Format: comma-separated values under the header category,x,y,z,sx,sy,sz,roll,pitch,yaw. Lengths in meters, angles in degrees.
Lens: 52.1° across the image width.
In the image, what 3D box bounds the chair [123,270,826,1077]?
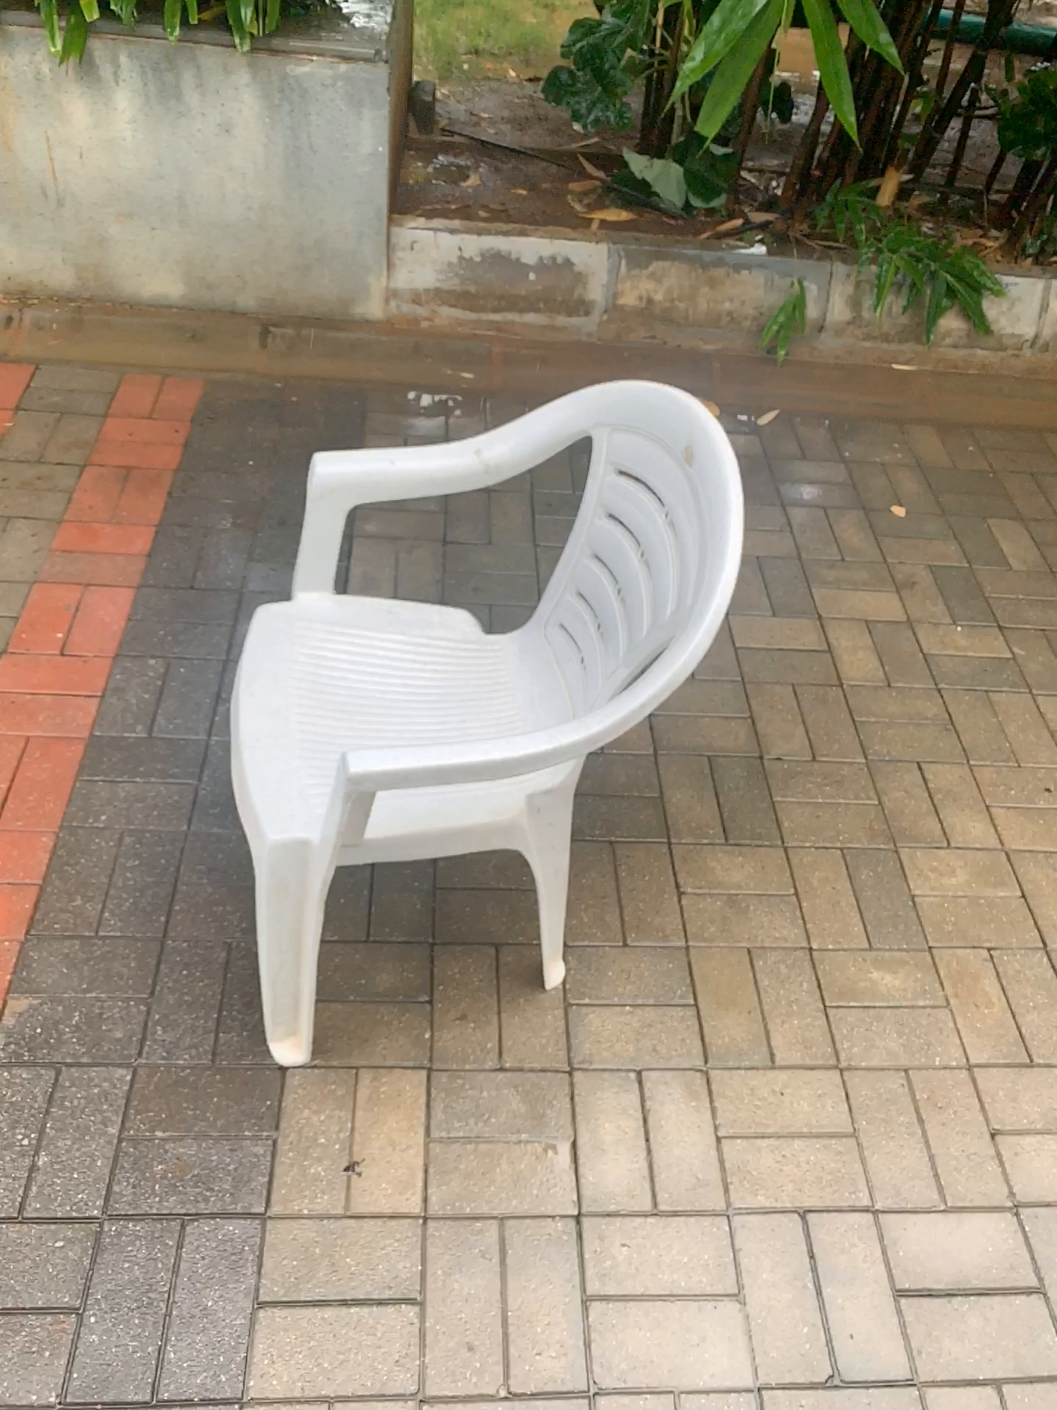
category,x,y,z,sx,sy,sz,roll,pitch,yaw
chair,-0.121,-0.025,1.328,0.570,0.777,0.562,-5,48,-12
